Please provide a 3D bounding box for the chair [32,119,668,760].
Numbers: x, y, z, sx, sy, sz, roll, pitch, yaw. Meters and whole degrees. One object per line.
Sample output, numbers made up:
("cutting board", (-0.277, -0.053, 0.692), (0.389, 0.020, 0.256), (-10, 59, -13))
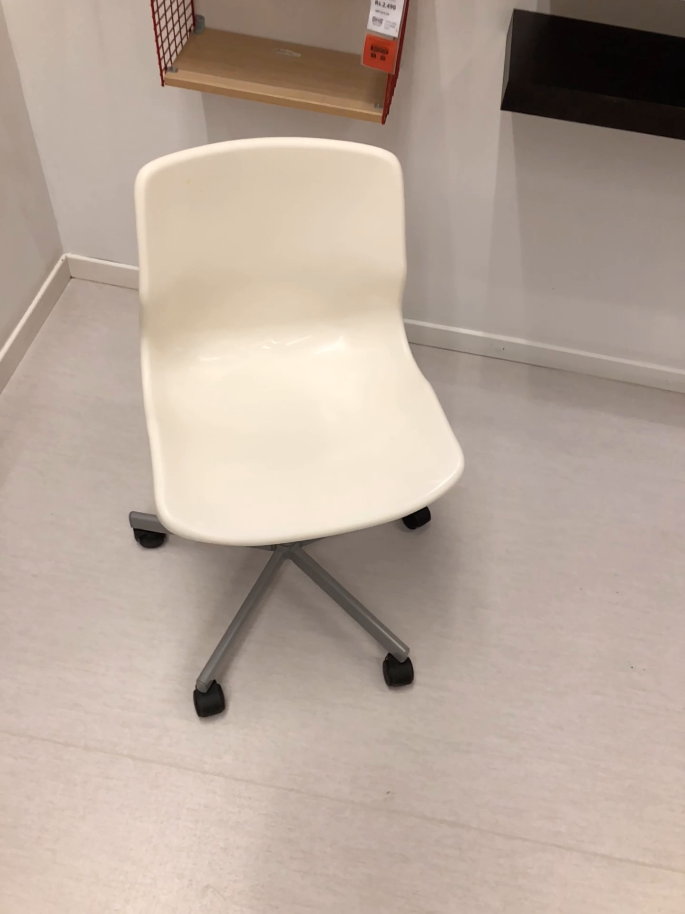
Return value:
("chair", (-0.067, -0.013, 1.165), (0.620, 0.686, 0.623), (-9, 55, -12))
